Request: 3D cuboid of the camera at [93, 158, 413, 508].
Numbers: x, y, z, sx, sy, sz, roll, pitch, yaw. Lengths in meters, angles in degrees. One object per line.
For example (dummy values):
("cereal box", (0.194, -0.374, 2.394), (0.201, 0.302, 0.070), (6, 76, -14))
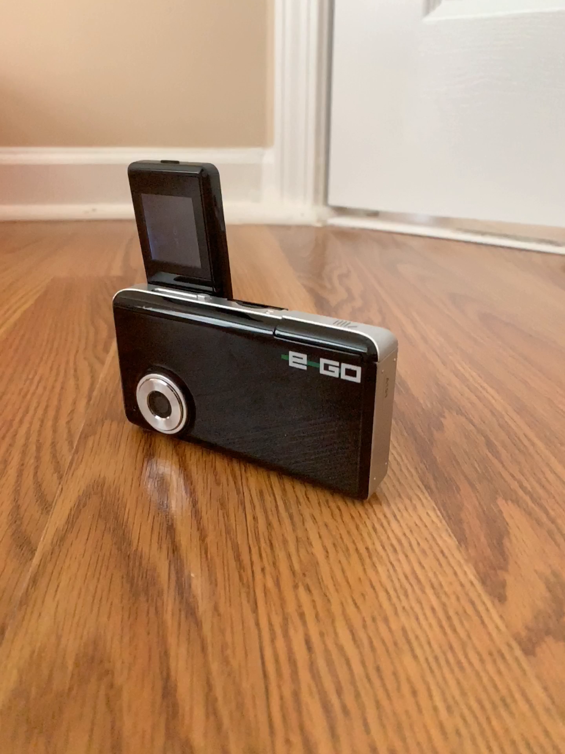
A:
("camera", (-0.016, -0.021, 0.224), (0.119, 0.111, 0.022), (14, 26, 29))
